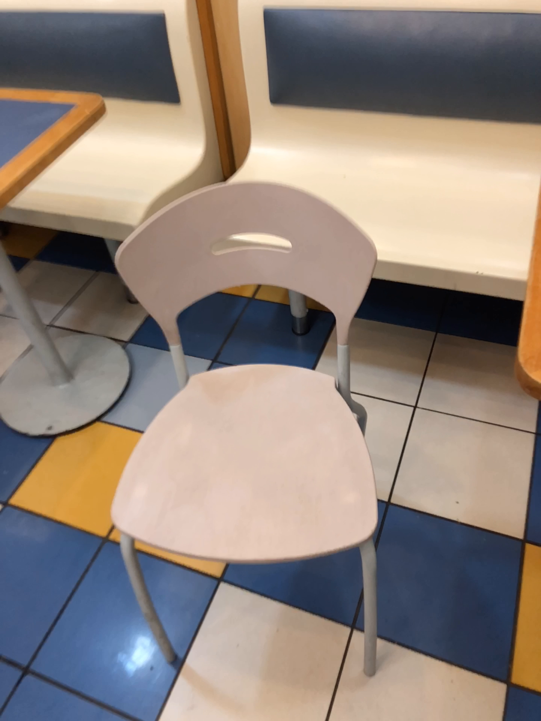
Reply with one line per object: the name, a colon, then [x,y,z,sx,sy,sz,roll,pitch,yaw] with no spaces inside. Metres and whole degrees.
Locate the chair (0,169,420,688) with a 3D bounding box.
chair: [-0.013,0.160,1.040,0.440,0.775,0.513,0,46,8]
